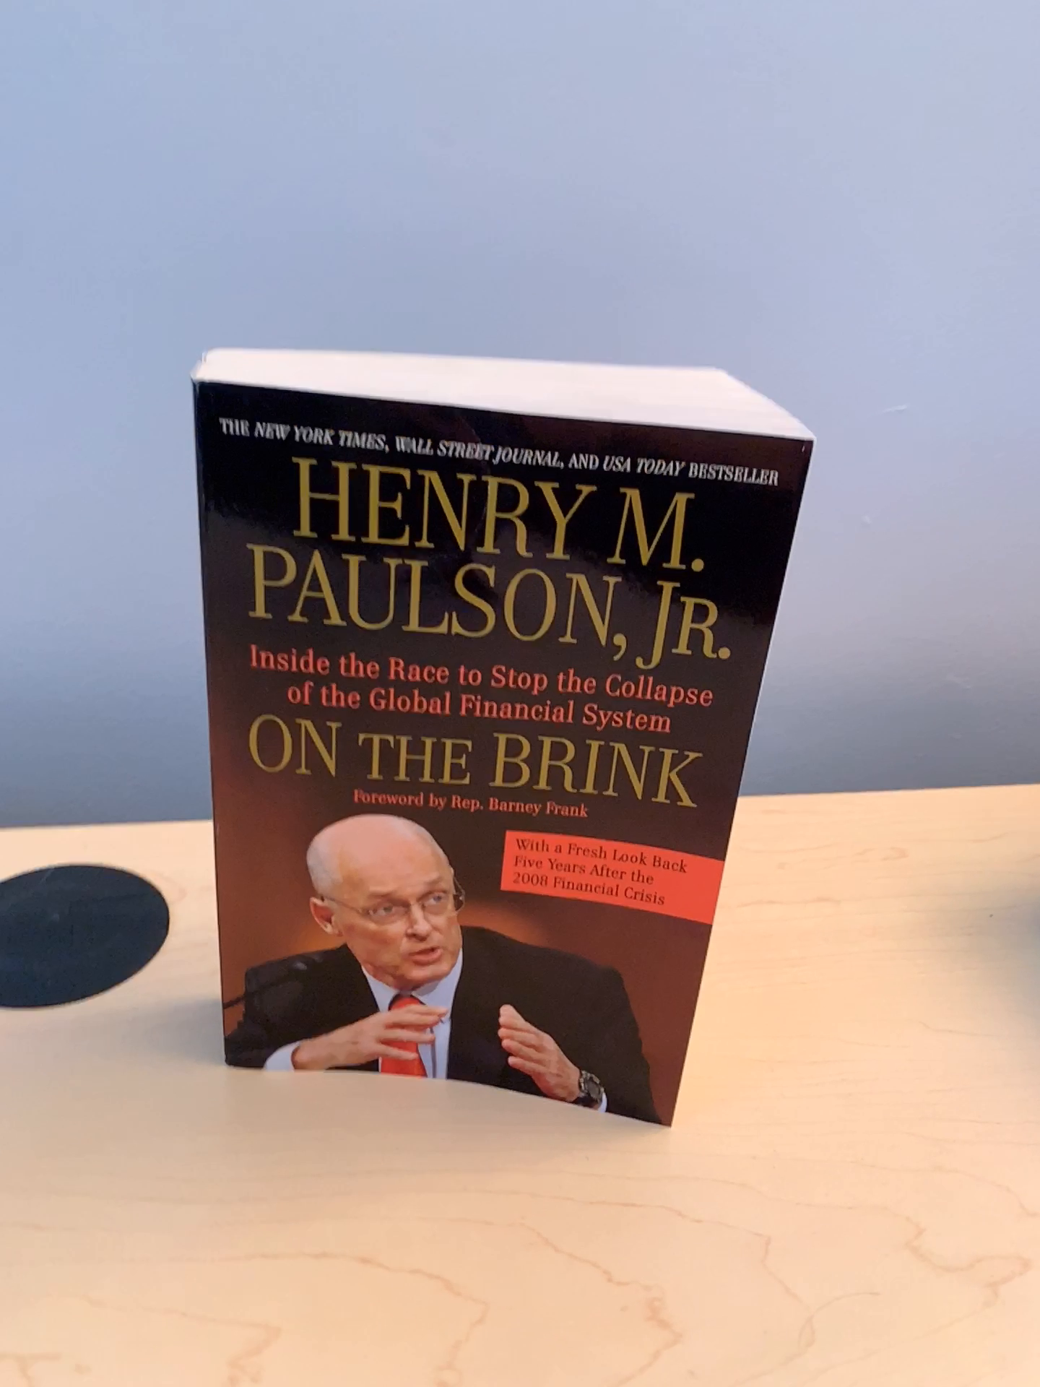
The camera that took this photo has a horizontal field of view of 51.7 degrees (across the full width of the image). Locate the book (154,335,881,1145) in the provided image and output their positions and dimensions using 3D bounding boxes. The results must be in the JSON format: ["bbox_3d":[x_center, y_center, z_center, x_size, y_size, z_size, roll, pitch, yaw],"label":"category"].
[{"bbox_3d":[-0.010,0.020,0.330,0.167,0.228,0.082,1,26,-8],"label":"book"}]
